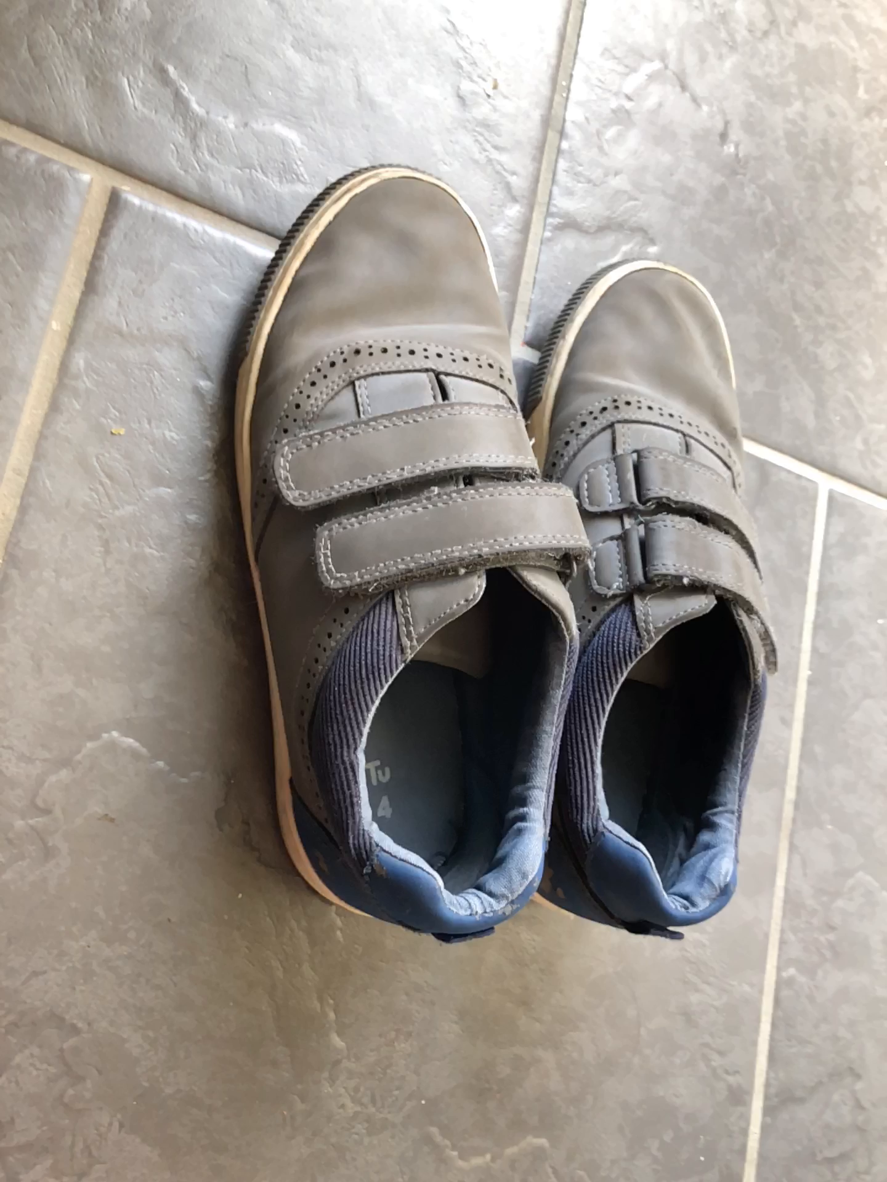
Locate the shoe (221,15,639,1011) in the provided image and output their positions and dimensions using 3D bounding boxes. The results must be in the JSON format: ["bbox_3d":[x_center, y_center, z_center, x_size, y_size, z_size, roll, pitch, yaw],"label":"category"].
[{"bbox_3d":[-0.009,-0.021,0.298,0.100,0.070,0.250,2,83,-27],"label":"shoe"}]

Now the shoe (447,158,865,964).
[{"bbox_3d":[0.079,-0.007,0.354,0.100,0.070,0.250,14,78,-25],"label":"shoe"}]
